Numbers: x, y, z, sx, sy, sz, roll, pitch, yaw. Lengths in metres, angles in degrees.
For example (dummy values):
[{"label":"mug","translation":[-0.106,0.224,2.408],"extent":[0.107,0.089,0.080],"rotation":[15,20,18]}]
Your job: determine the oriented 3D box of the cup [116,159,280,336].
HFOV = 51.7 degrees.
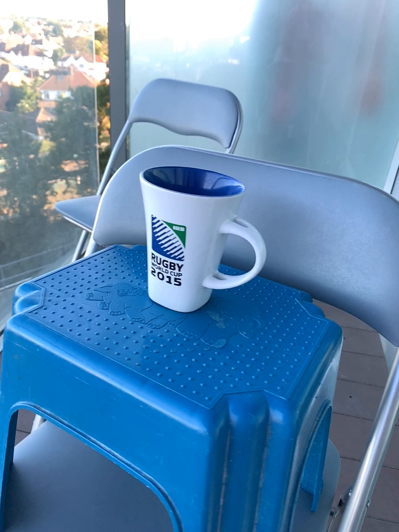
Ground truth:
[{"label":"cup","translation":[-0.004,-0.023,0.357],"extent":[0.107,0.105,0.083],"rotation":[19,30,24]}]
